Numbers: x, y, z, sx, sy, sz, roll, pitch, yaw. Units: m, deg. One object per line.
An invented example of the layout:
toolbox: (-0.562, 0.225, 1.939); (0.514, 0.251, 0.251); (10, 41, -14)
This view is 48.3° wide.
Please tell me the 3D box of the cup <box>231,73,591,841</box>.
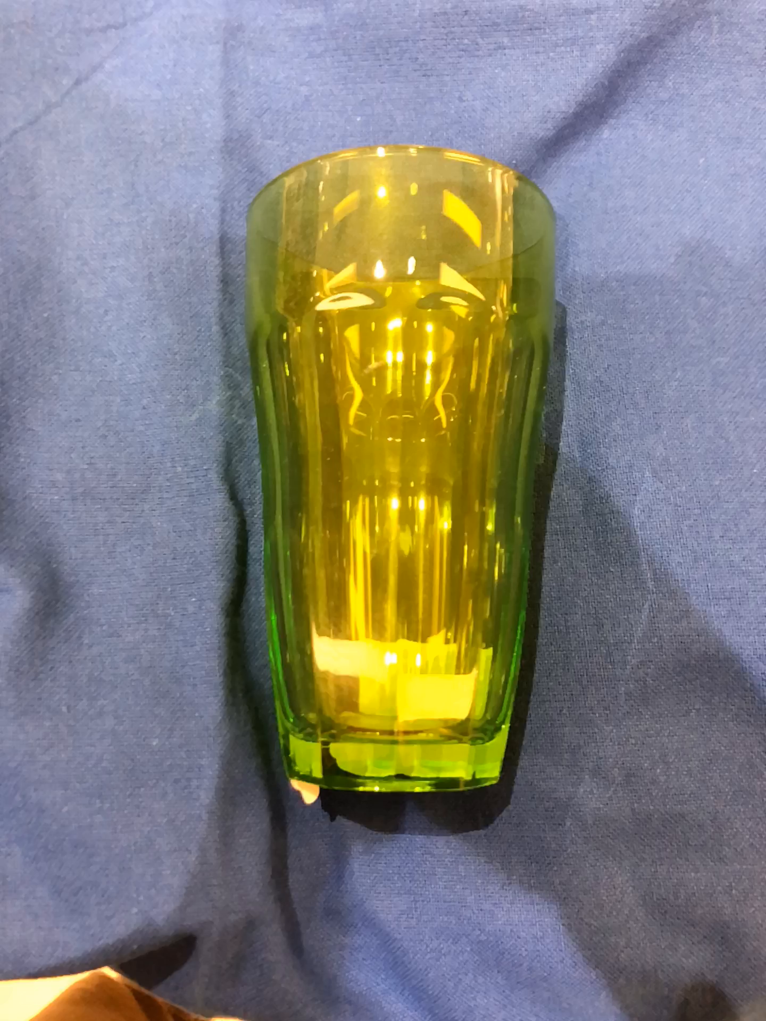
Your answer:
cup: (0.001, -0.011, 0.212); (0.070, 0.070, 0.160); (0, 81, -6)
